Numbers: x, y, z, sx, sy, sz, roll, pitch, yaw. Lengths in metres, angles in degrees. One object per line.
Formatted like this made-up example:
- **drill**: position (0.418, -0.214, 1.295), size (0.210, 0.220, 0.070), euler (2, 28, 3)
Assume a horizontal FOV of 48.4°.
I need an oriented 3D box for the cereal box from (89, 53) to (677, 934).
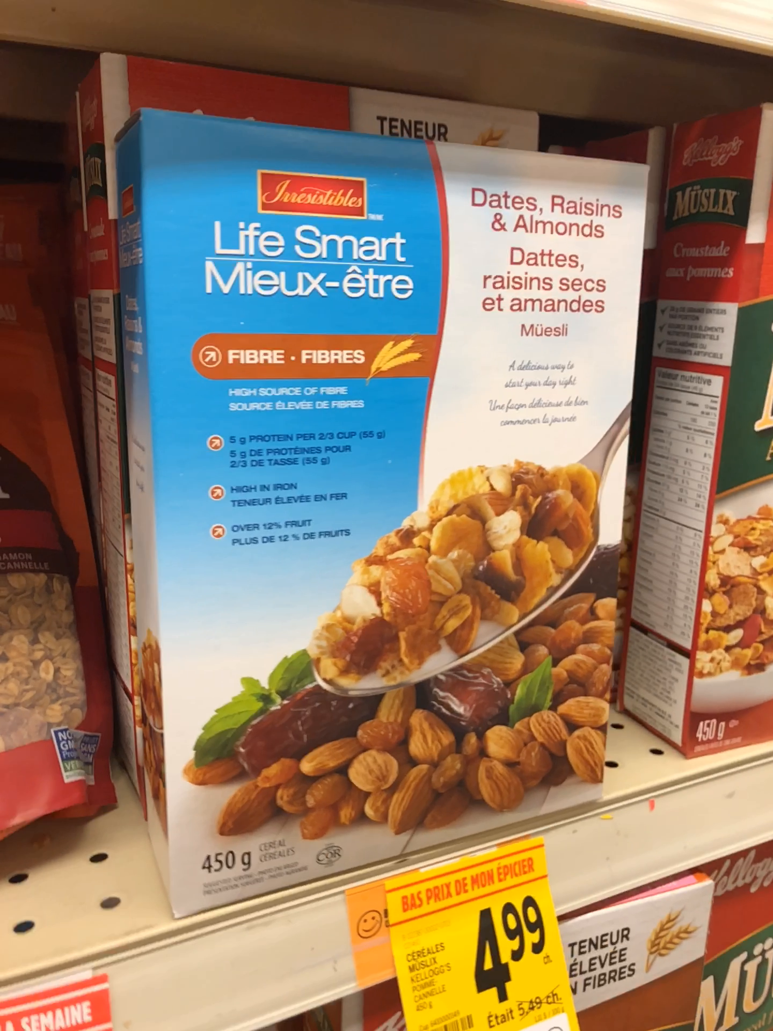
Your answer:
- **cereal box**: position (0.000, -0.004, 0.285), size (0.170, 0.239, 0.050), euler (-5, 16, -25)
